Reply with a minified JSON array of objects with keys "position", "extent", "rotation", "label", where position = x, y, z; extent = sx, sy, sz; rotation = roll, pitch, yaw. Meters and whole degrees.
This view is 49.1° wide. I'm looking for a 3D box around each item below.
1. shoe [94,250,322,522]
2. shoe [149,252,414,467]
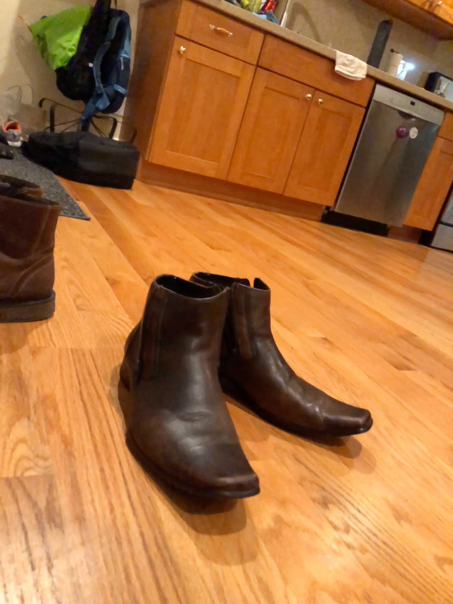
[{"position":[-0.046,0.063,0.531],"extent":[0.109,0.142,0.291],"rotation":[7,19,-28],"label":"shoe"},{"position":[0.066,0.058,0.662],"extent":[0.300,0.152,0.109],"rotation":[23,18,22],"label":"shoe"}]
